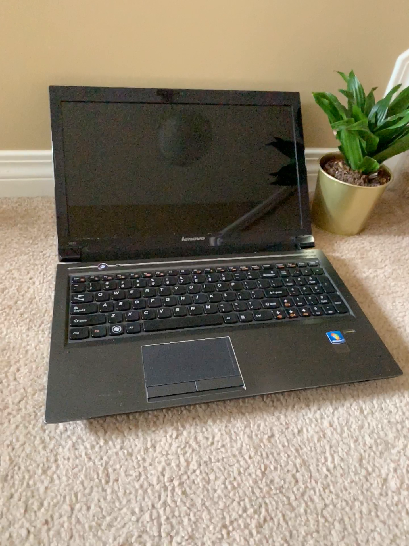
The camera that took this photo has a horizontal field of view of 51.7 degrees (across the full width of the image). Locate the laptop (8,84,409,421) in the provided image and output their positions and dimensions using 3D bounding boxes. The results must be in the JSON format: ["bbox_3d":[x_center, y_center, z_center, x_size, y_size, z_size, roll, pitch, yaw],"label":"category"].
[{"bbox_3d":[0.000,-0.072,0.522,0.372,0.167,0.412,-4,41,-13],"label":"laptop"}]
